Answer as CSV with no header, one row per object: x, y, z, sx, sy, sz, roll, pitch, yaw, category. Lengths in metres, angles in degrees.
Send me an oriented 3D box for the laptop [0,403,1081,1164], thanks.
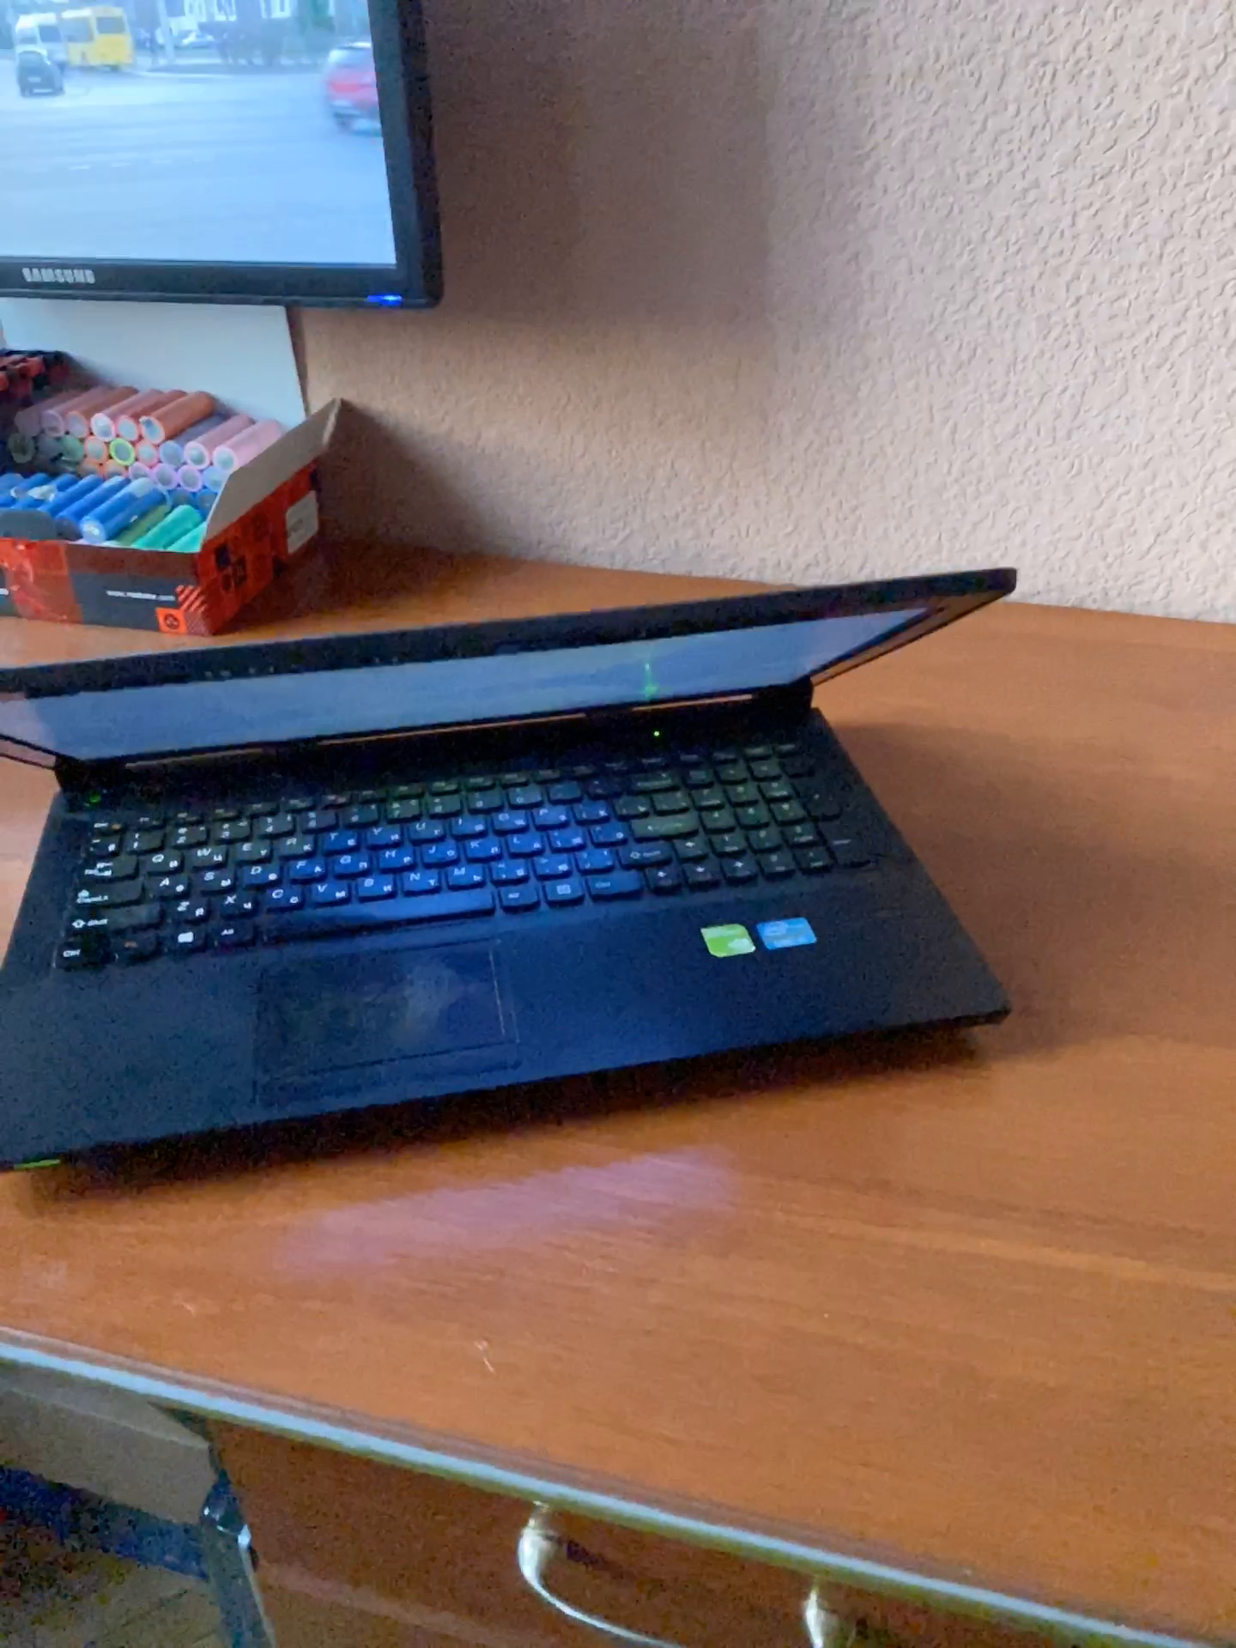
-0.064,-0.044,0.508,0.377,0.149,0.257,-7,35,-9,laptop
